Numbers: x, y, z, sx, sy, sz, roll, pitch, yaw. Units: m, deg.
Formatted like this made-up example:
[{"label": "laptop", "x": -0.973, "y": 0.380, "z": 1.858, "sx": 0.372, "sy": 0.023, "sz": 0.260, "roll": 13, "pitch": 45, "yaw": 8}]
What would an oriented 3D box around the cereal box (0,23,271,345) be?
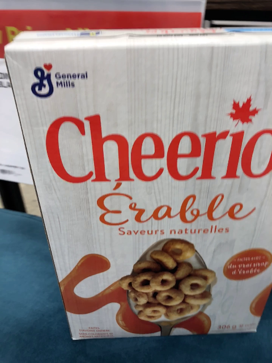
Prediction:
[{"label": "cereal box", "x": 0.028, "y": 0.026, "z": 0.252, "sx": 0.210, "sy": 0.269, "sz": 0.060, "roll": -2, "pitch": 33, "yaw": -2}]
